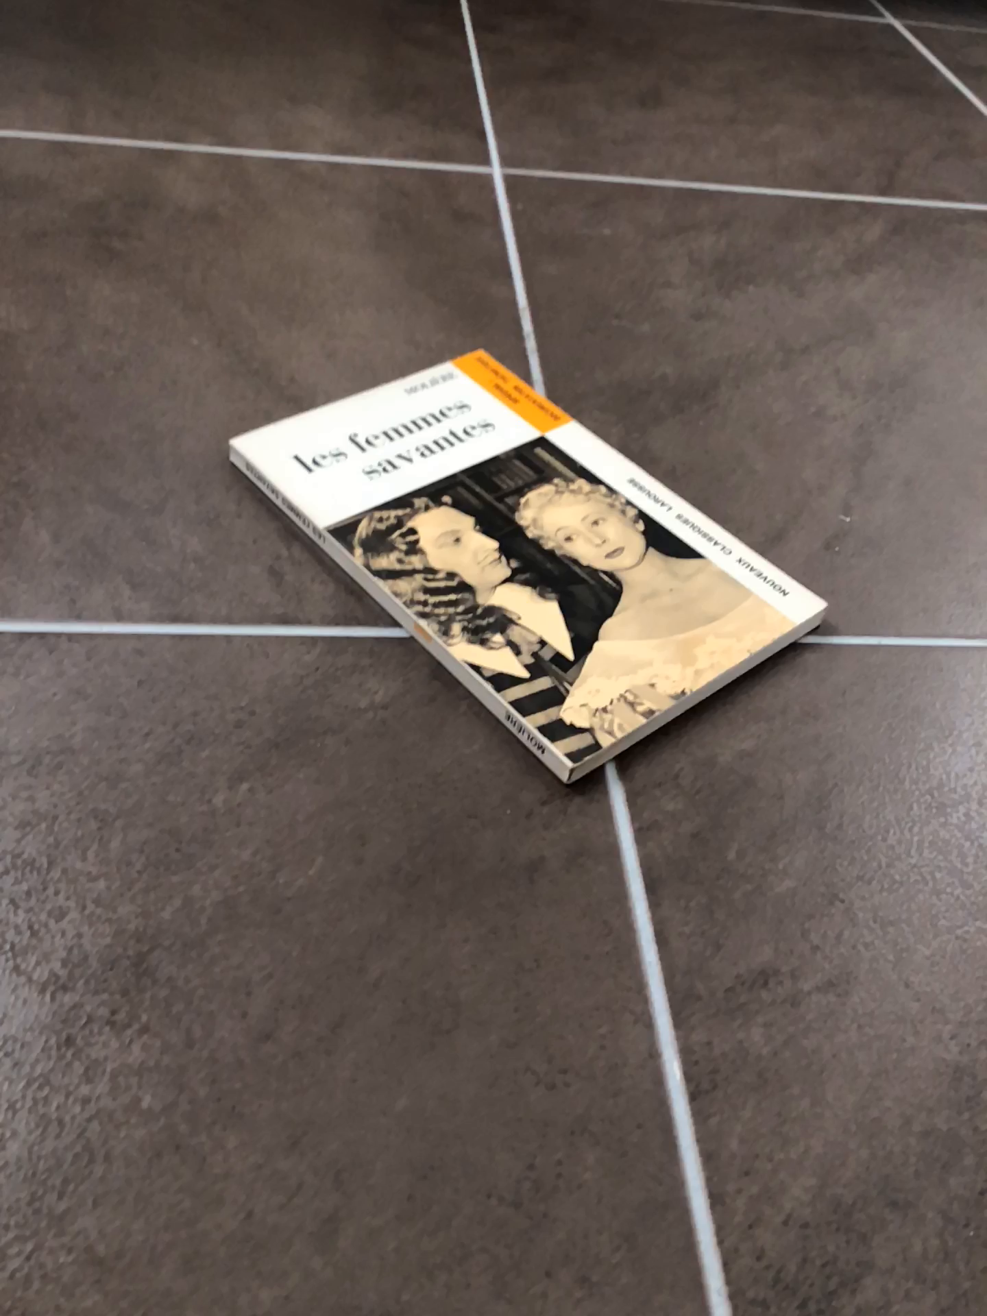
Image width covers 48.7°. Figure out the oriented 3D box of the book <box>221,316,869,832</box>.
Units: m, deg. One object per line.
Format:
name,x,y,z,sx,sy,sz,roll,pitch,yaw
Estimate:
book,0.013,-0.041,0.343,0.121,0.020,0.170,-28,60,-31
